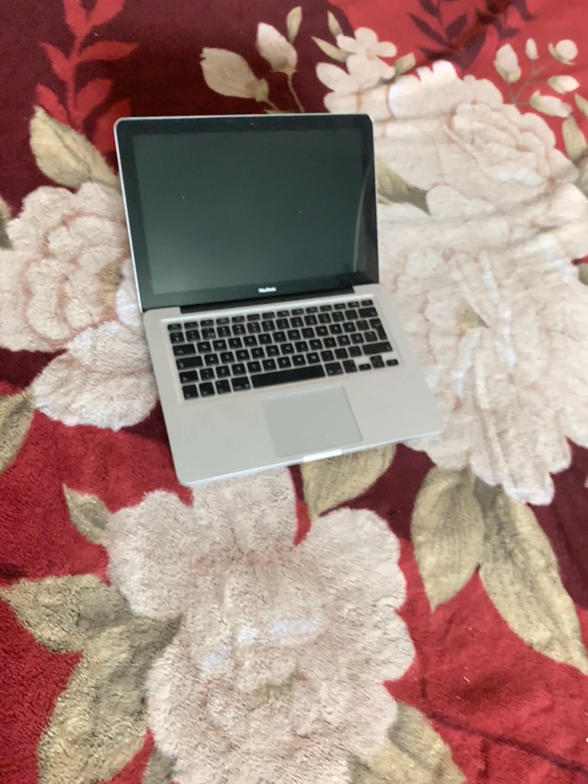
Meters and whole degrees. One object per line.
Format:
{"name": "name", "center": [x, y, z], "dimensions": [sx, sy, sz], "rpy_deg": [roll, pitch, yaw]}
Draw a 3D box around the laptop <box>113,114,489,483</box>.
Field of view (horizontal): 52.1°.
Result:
{"name": "laptop", "center": [-0.011, -0.128, 0.701], "dimensions": [0.317, 0.116, 0.388], "rpy_deg": [-10, 68, -17]}
